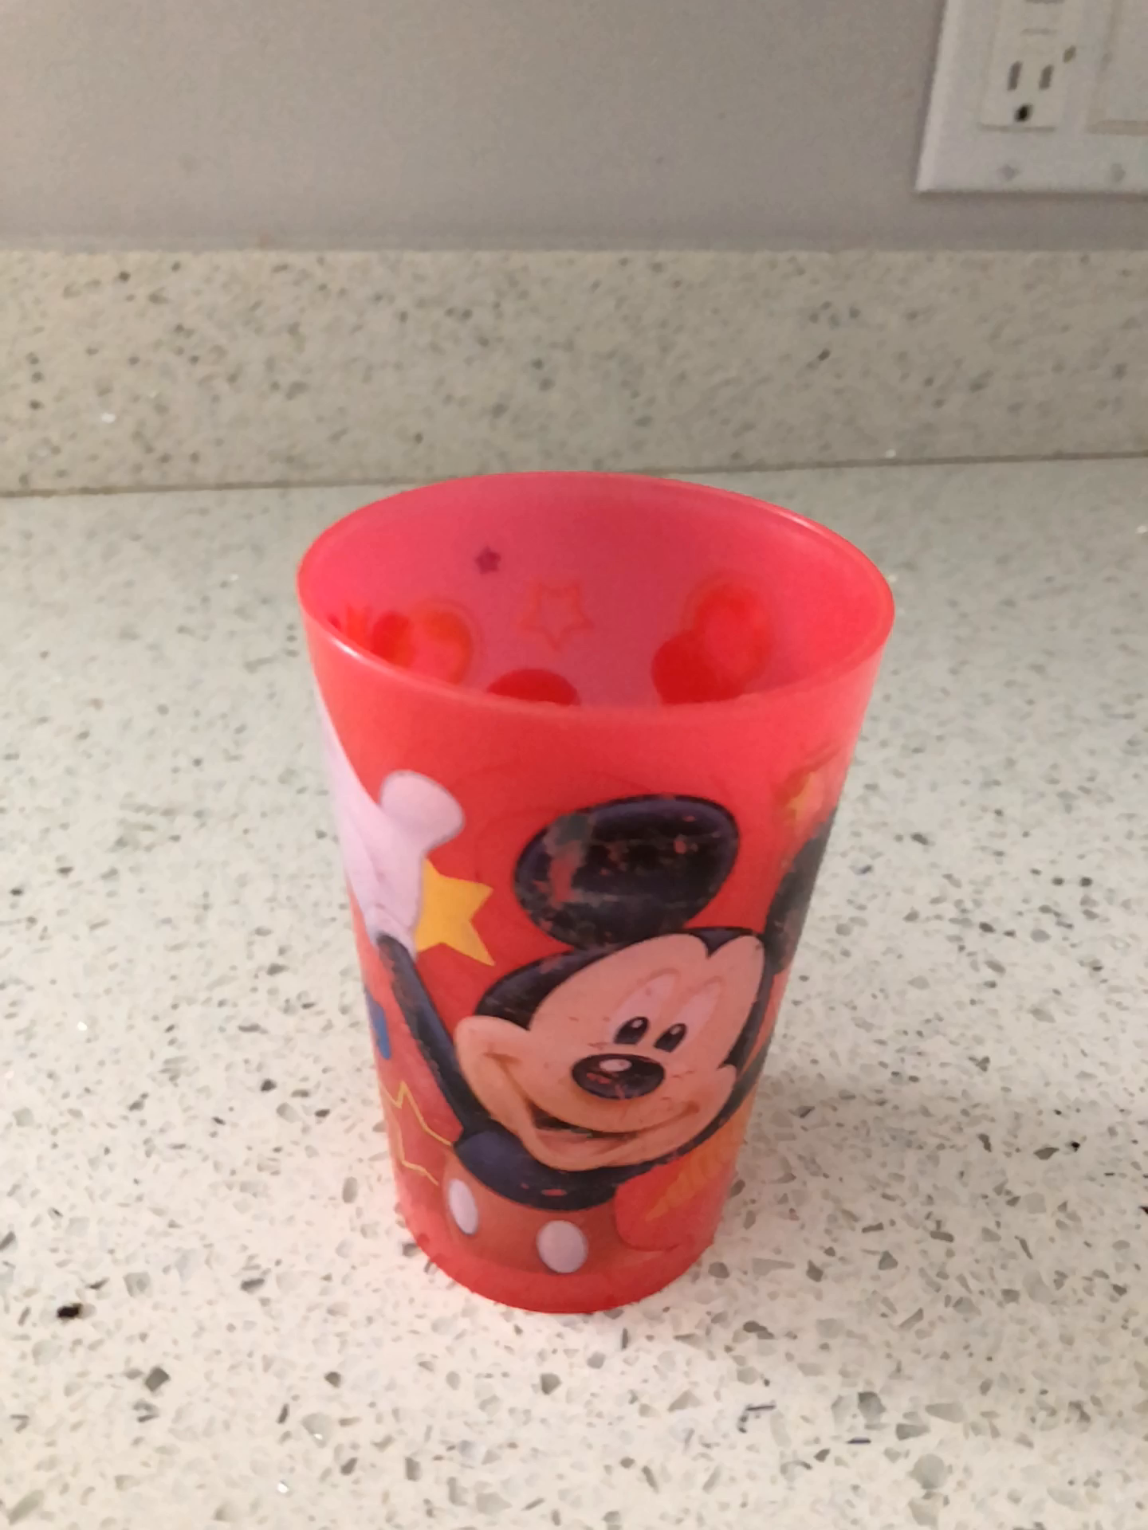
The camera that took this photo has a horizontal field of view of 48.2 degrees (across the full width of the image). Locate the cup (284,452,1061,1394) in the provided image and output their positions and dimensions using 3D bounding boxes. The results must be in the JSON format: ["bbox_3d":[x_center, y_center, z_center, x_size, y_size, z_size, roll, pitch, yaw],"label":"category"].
[{"bbox_3d":[0.003,0.017,0.172,0.073,0.096,0.071,2,31,-1],"label":"cup"}]
